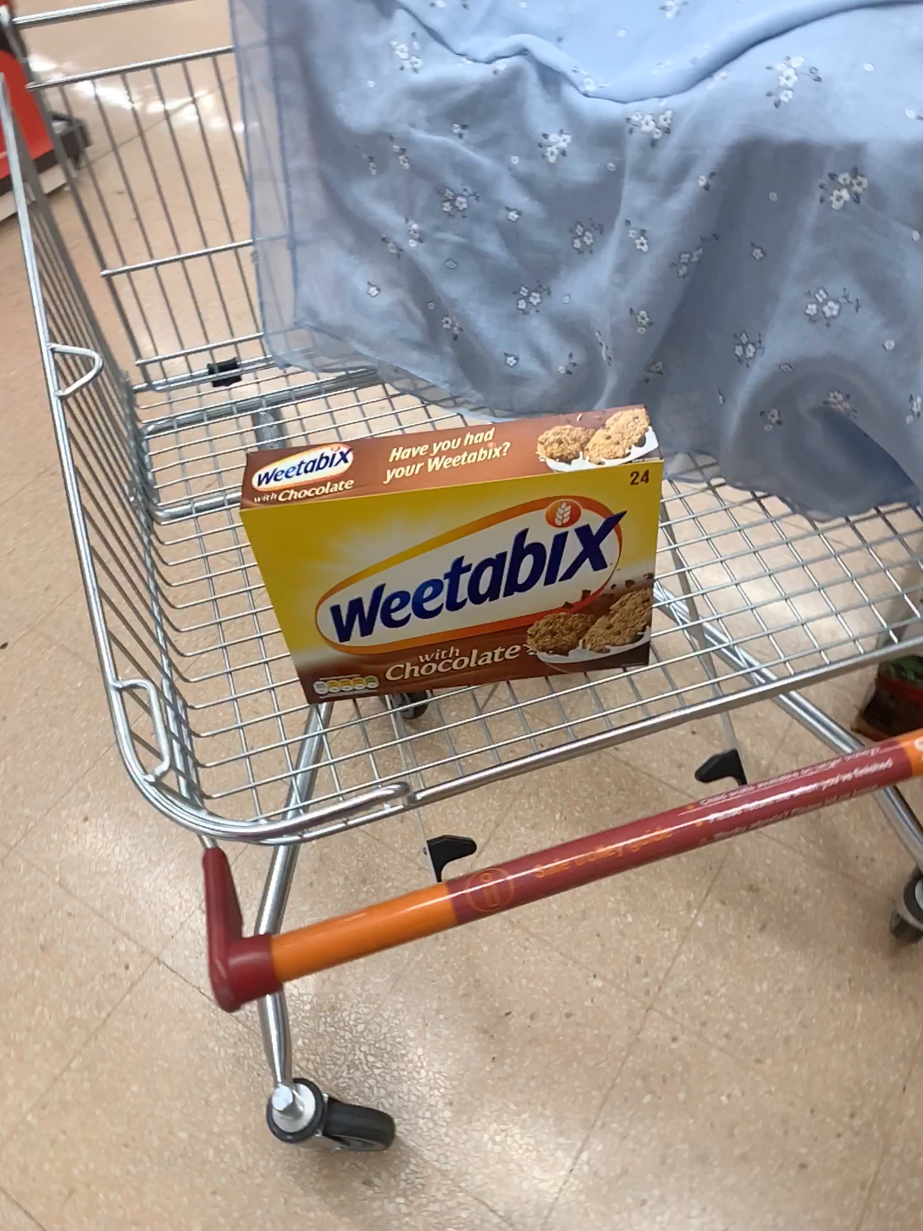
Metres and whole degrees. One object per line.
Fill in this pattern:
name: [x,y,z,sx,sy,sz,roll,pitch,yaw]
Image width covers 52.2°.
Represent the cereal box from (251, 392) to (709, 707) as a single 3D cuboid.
cereal box: [0.013,-0.034,0.602,0.250,0.188,0.061,-6,49,-1]
